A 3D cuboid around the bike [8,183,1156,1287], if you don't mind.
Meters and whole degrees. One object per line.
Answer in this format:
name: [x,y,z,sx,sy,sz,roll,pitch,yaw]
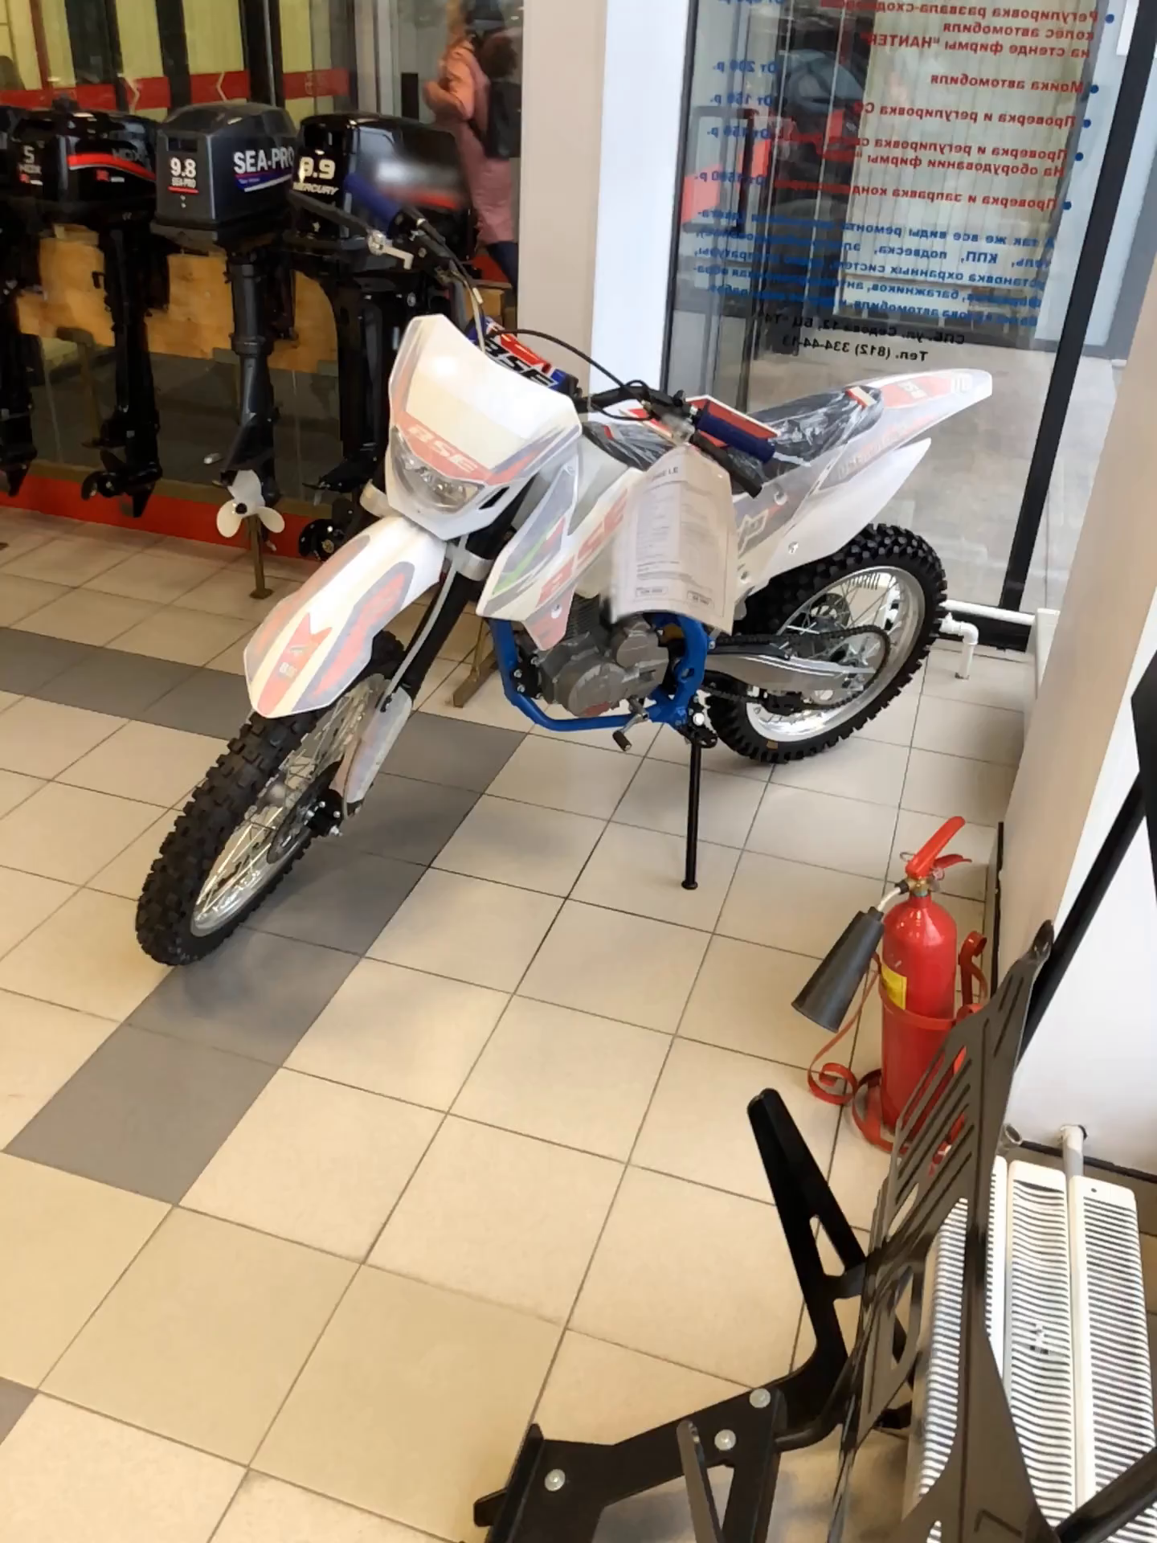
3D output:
bike: [0.116,-0.286,2.279,1.849,1.220,0.845,-21,38,-34]
